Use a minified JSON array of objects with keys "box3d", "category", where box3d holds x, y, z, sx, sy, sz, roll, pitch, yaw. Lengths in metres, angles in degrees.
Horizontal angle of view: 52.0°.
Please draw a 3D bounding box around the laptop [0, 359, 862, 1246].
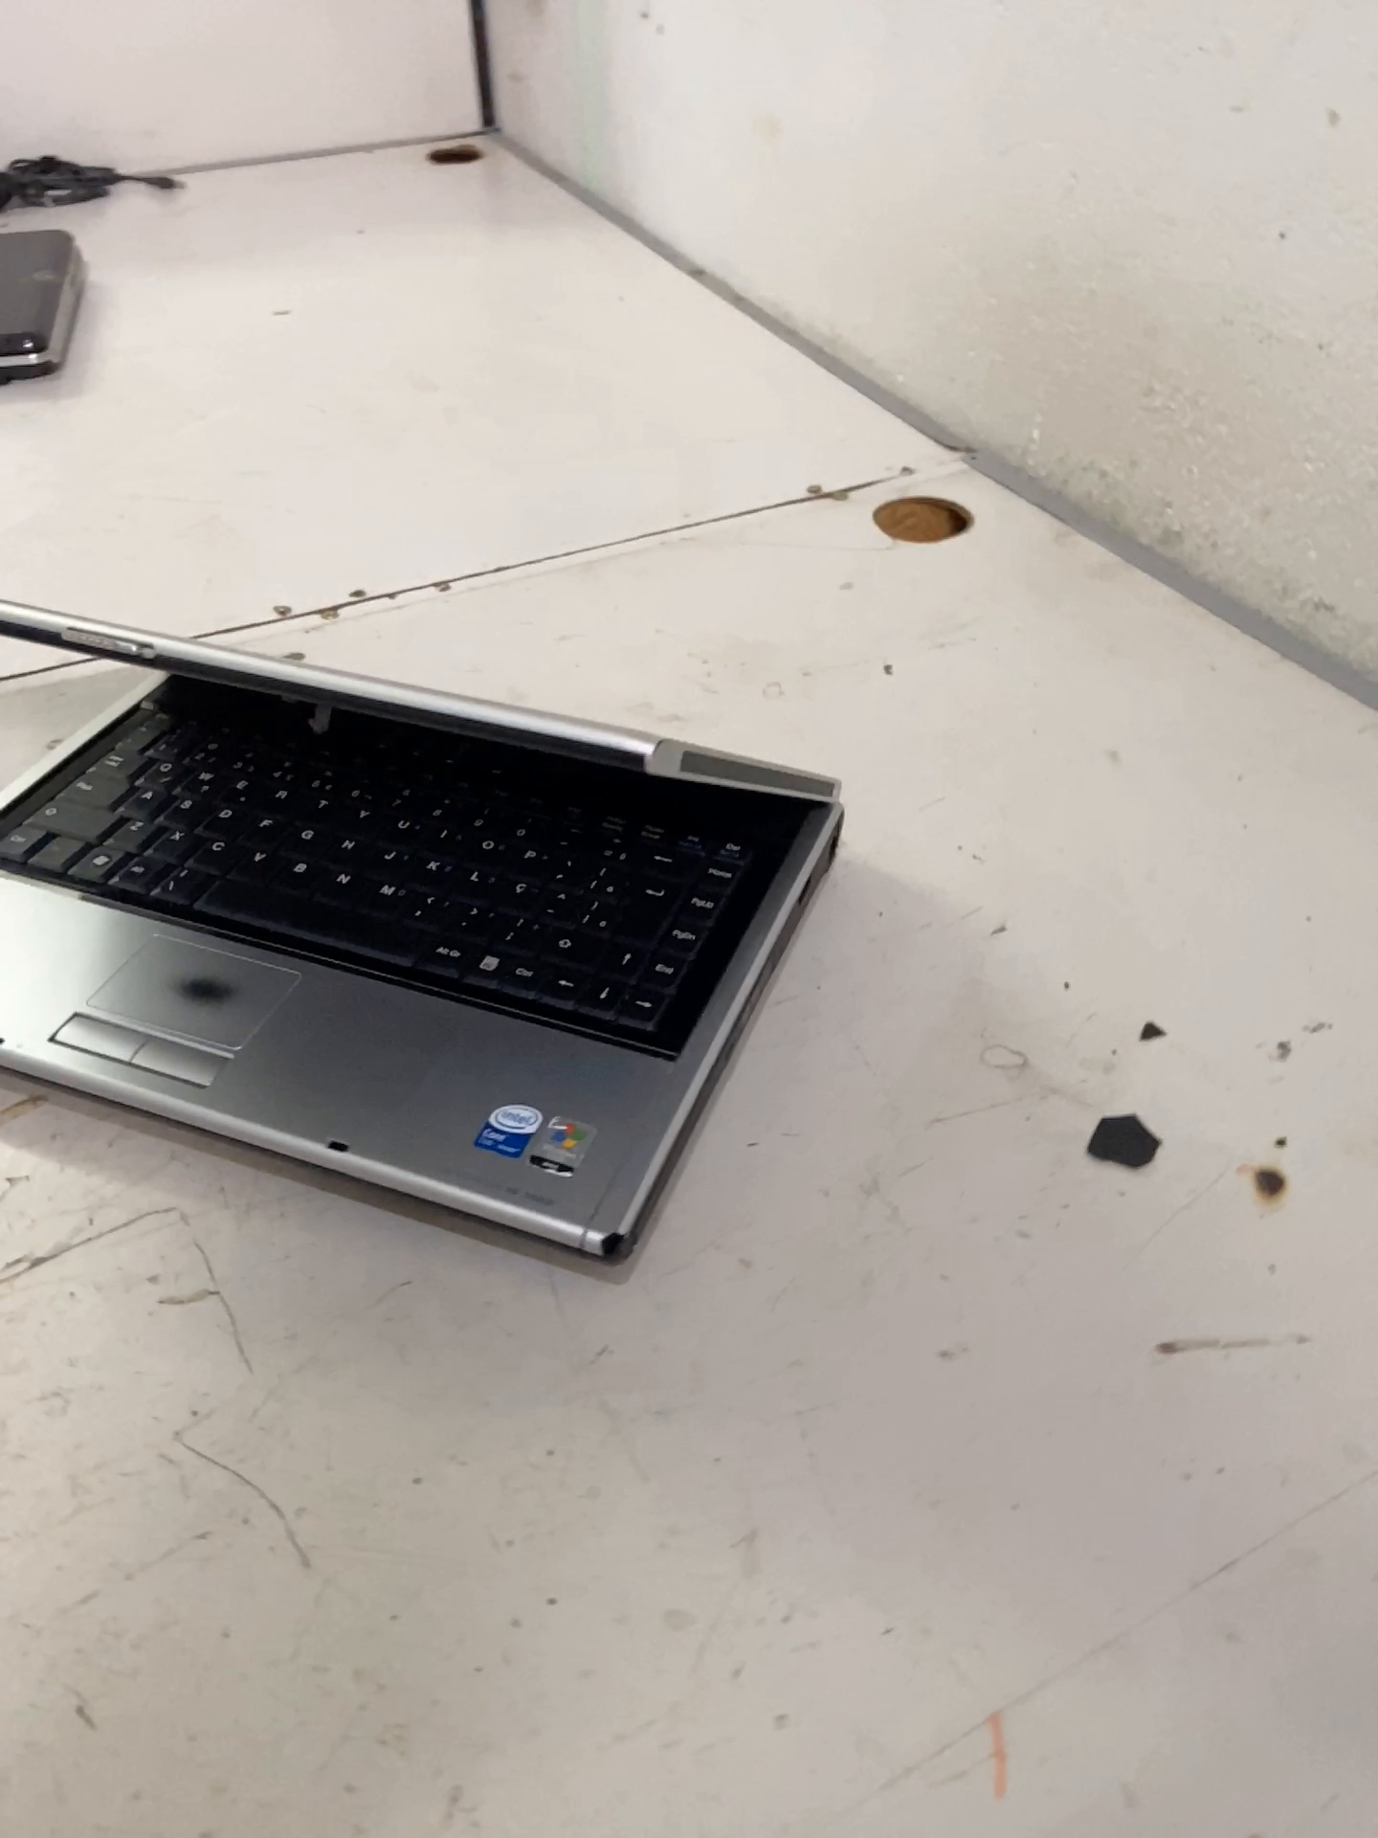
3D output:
[{"box3d":[-0.130,-0.066,0.483,0.319,0.144,0.227,13,43,18],"category":"laptop"}]
